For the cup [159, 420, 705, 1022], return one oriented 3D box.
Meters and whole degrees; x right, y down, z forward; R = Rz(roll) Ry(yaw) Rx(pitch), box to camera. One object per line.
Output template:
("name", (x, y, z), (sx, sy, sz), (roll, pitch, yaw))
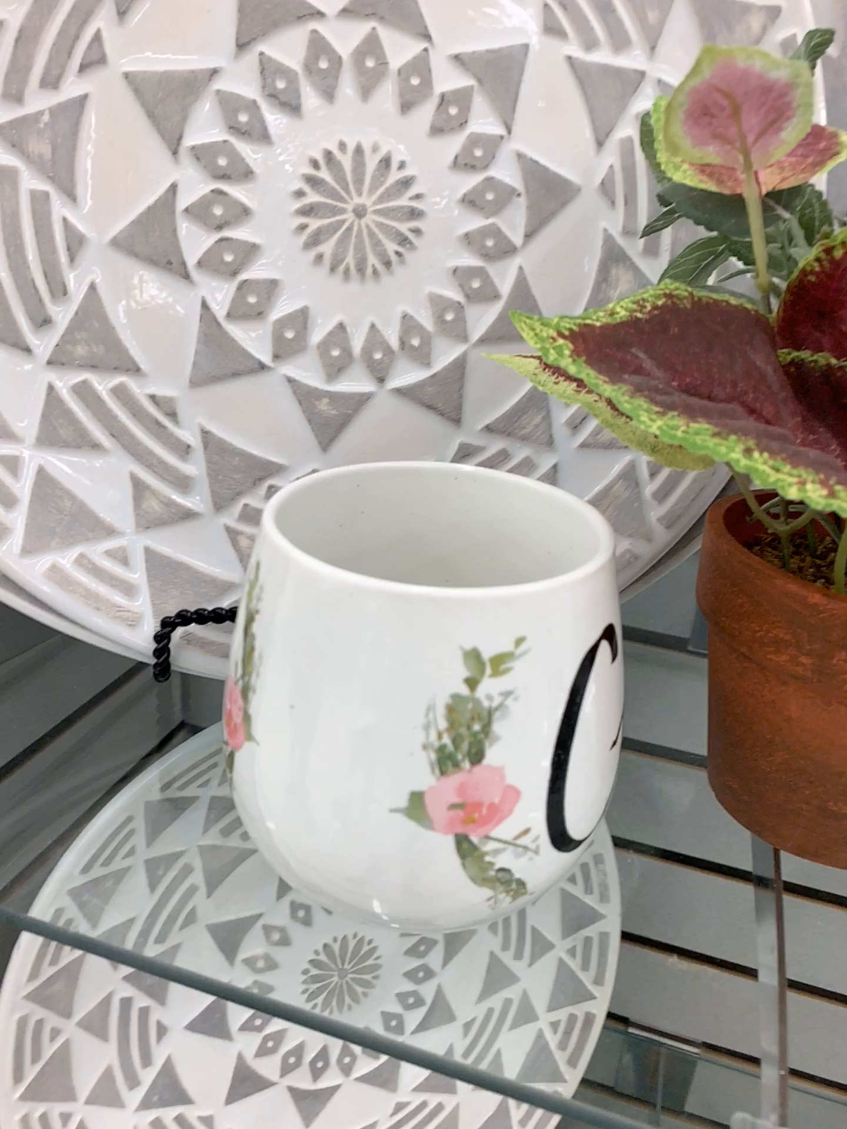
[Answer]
("cup", (0.005, 0.025, 0.220), (0.089, 0.090, 0.100), (17, 26, 27))
